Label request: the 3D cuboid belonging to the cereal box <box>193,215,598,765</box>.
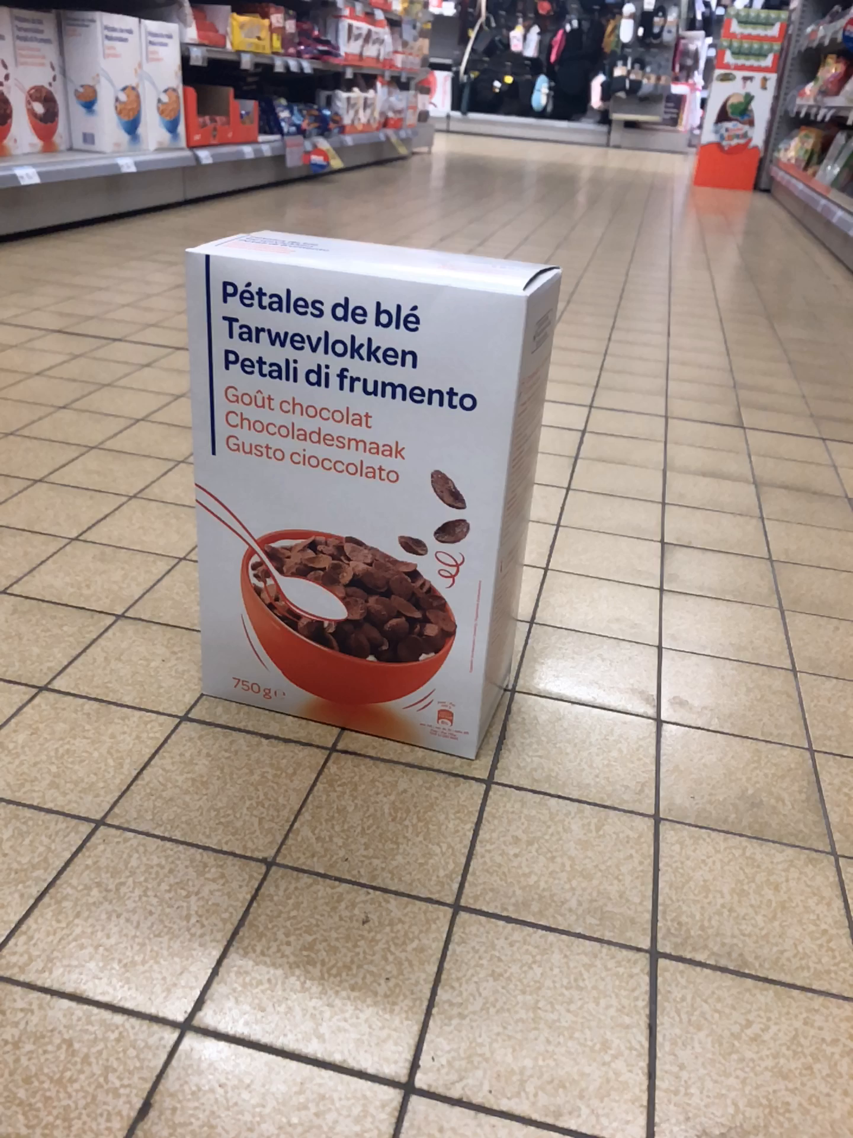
[{"bbox_3d":[-0.023,-0.049,0.575,0.200,0.288,0.101,11,27,12],"label":"cereal box"}]
